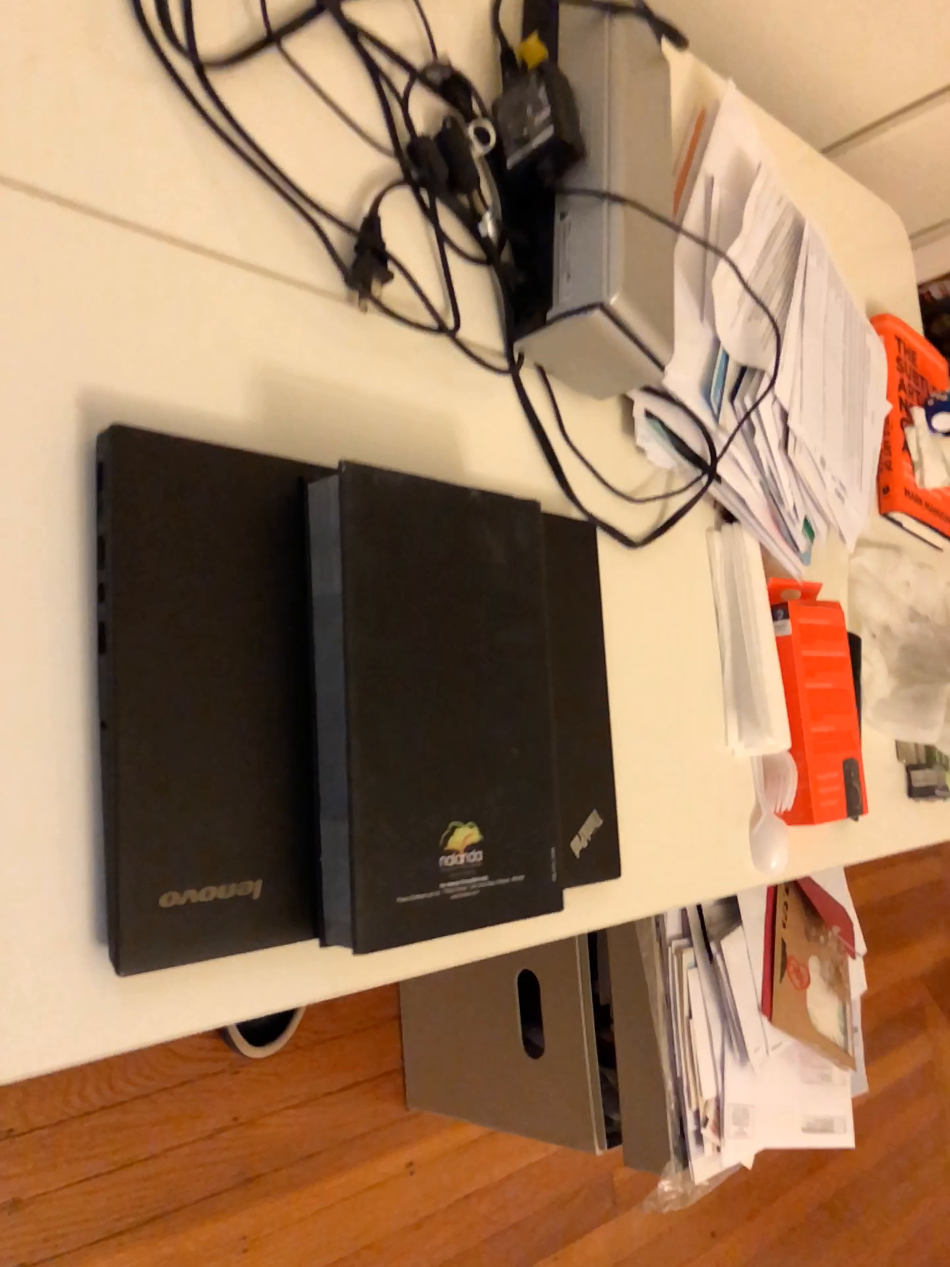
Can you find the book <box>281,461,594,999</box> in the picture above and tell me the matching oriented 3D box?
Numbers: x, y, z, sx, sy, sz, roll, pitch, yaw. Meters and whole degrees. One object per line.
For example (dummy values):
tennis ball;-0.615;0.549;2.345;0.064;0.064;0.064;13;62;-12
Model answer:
book;-0.015;0.043;0.511;0.151;0.040;0.230;4;78;-46
